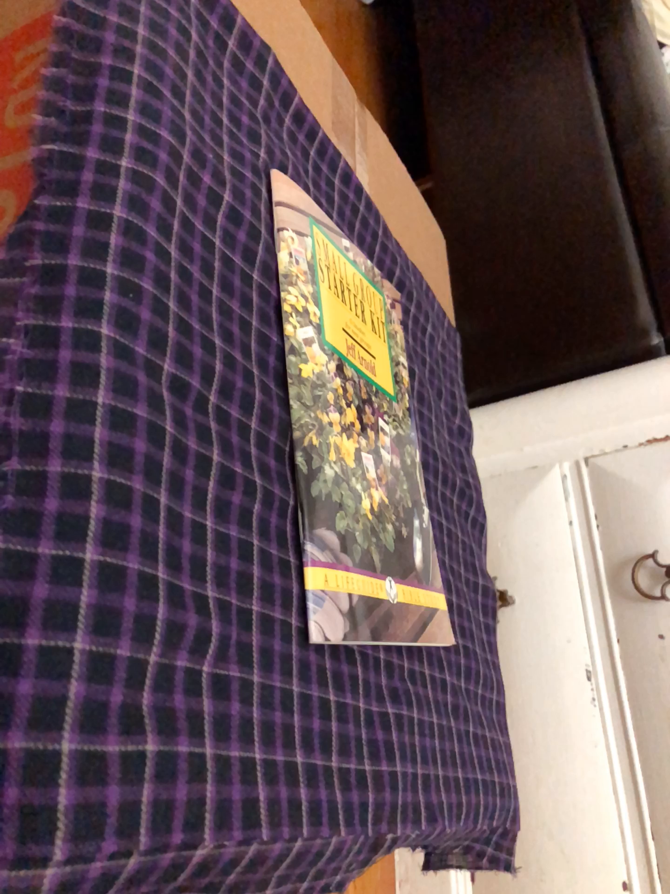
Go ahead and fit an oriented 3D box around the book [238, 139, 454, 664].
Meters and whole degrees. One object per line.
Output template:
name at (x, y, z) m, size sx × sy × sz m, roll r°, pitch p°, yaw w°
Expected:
book at (0.009, -0.012, 0.353) m, size 0.151 × 0.010 × 0.220 m, roll 26°, pitch 53°, yaw -57°
